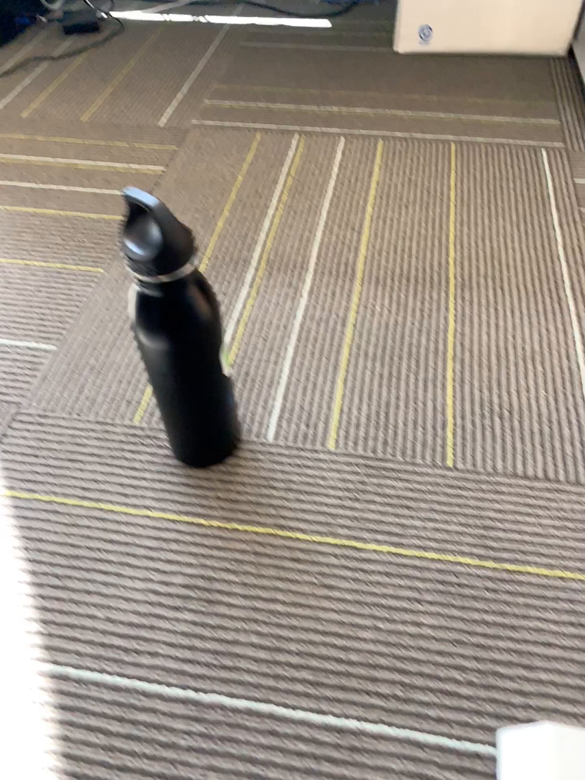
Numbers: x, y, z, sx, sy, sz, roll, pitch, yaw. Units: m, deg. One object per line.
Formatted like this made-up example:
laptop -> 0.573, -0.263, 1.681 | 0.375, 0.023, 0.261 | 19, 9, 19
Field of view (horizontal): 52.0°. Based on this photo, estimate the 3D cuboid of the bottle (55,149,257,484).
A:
bottle -> -0.094, -0.043, 0.475 | 0.080, 0.249, 0.090 | -27, 54, -20
